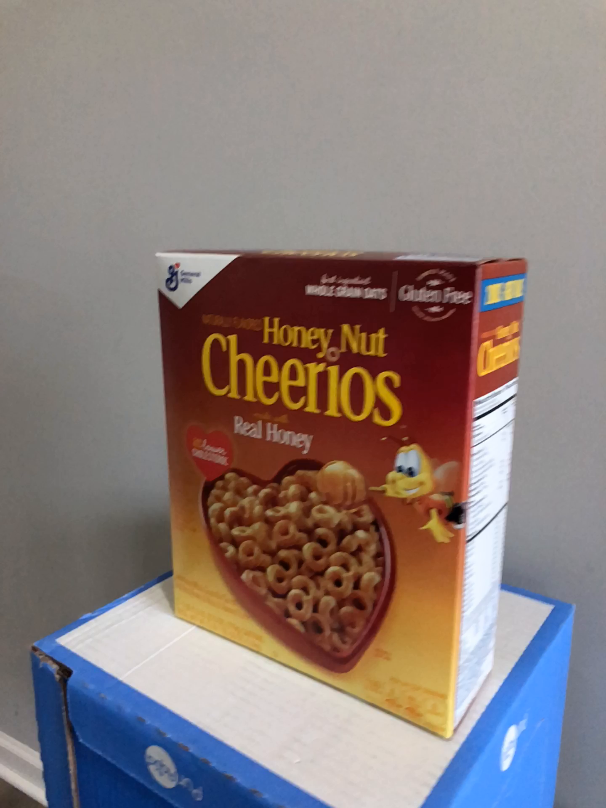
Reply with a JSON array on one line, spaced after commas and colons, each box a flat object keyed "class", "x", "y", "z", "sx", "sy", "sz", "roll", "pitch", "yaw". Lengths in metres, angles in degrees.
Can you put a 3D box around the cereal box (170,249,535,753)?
[{"class": "cereal box", "x": 0.024, "y": 0.047, "z": 0.492, "sx": 0.240, "sy": 0.309, "sz": 0.080, "roll": 10, "pitch": 17, "yaw": 35}]
